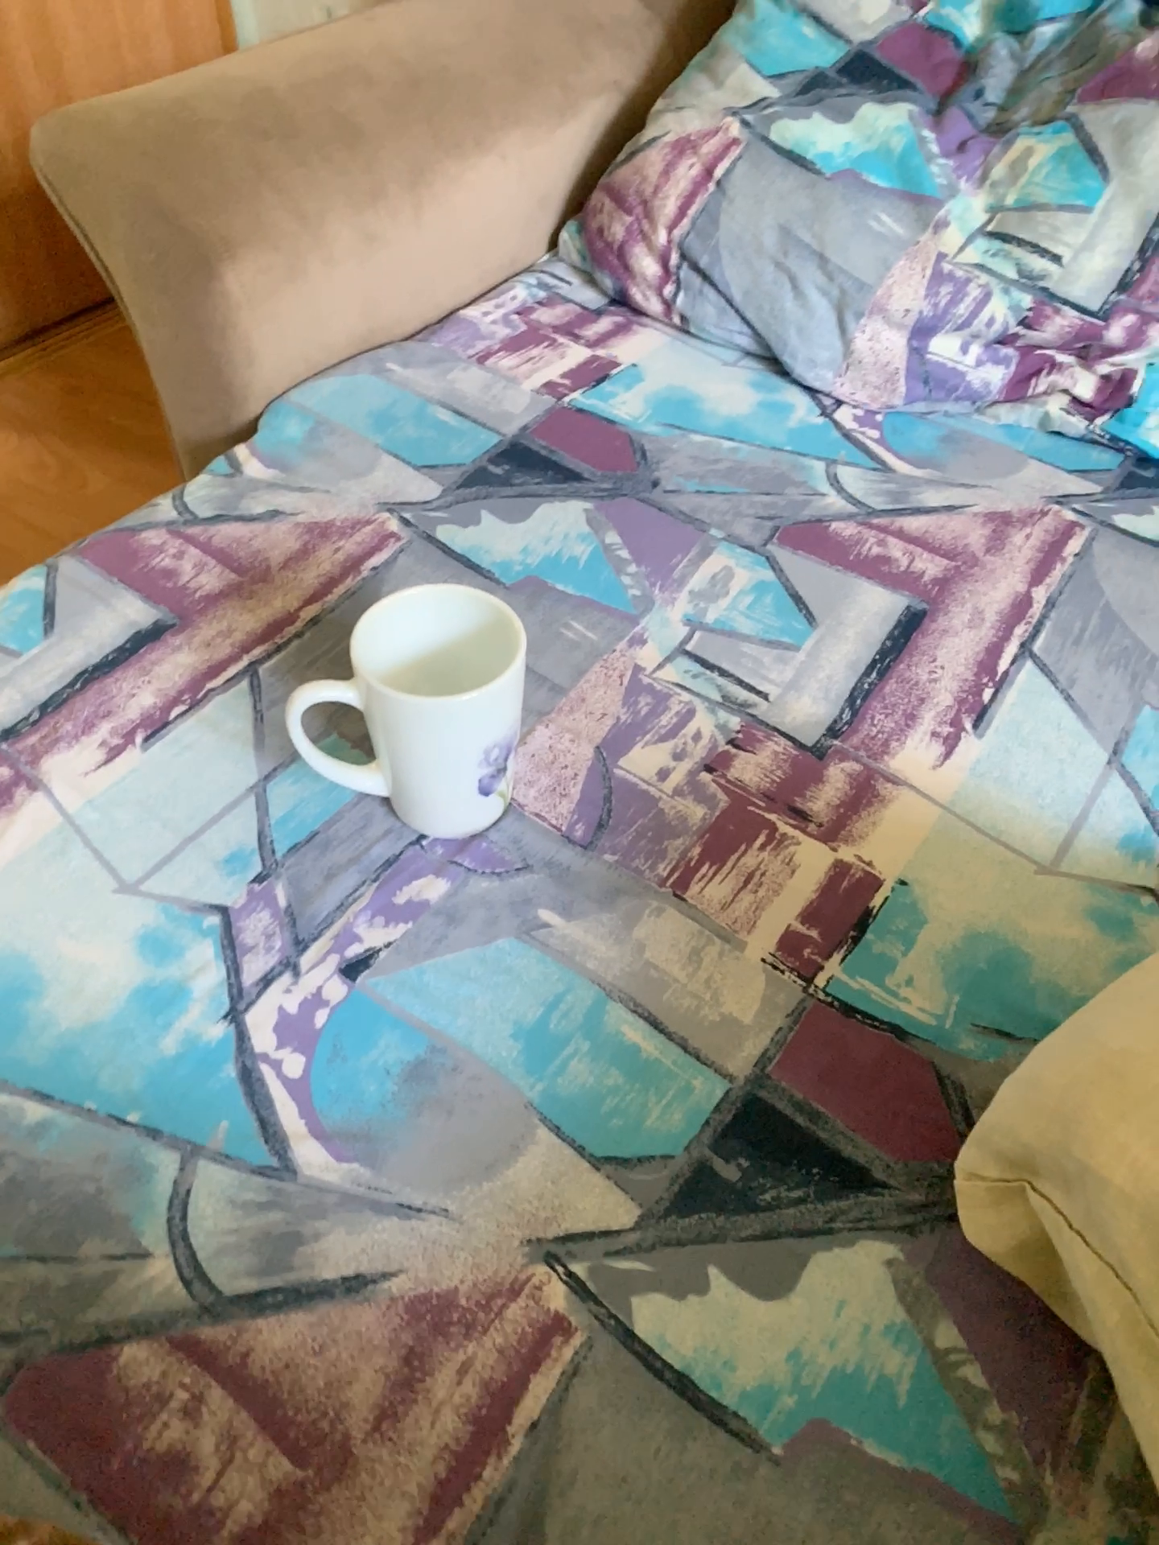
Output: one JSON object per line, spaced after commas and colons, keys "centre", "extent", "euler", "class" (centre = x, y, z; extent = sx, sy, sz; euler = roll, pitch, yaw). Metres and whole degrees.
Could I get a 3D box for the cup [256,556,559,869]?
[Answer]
{"centre": [-0.078, -0.029, 0.553], "extent": [0.120, 0.099, 0.081], "euler": [-11, 46, -12], "class": "cup"}
